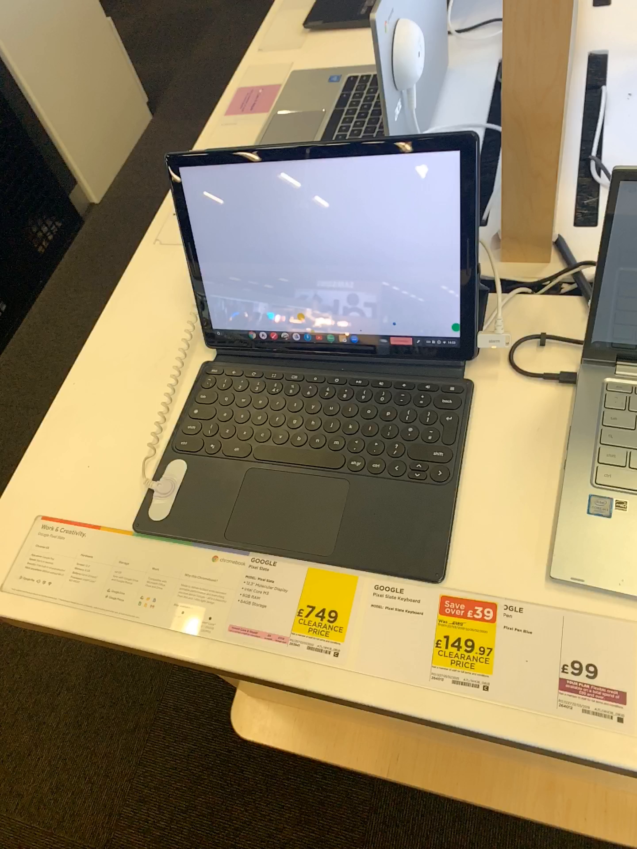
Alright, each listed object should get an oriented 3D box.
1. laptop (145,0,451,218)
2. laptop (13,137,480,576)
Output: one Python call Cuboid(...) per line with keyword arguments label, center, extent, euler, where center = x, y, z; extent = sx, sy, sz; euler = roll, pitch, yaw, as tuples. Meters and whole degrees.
Cuboid(label="laptop", center=(0.006, -0.446, 0.777), extent=(0.233, 0.222, 0.321), euler=(6, 60, 18))
Cuboid(label="laptop", center=(-0.025, -0.065, 0.565), extent=(0.285, 0.188, 0.294), euler=(5, 58, 18))
